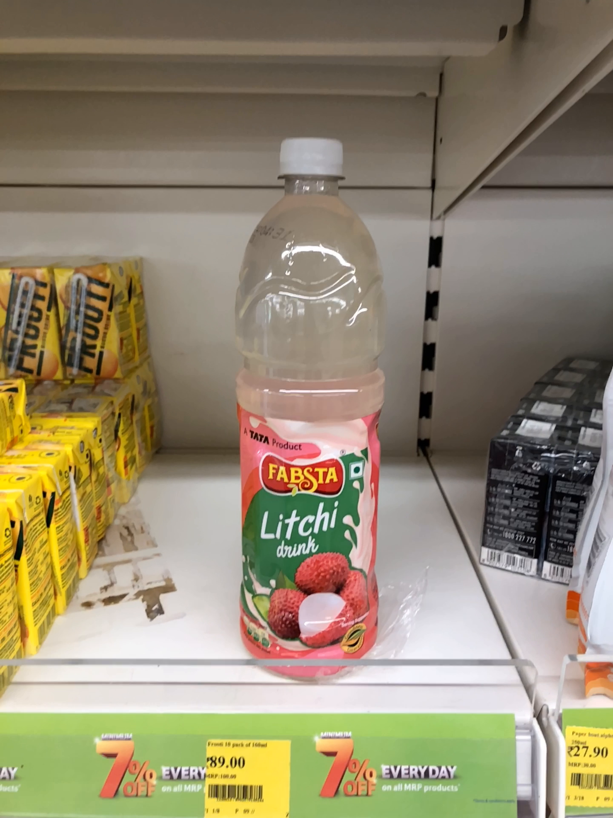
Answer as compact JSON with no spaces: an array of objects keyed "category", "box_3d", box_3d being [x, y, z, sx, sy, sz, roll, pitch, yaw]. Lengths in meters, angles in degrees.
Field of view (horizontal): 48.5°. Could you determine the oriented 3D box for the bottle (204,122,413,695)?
[{"category":"bottle","box_3d":[0.005,0.004,0.344,0.080,0.269,0.070,4,19,11]}]
